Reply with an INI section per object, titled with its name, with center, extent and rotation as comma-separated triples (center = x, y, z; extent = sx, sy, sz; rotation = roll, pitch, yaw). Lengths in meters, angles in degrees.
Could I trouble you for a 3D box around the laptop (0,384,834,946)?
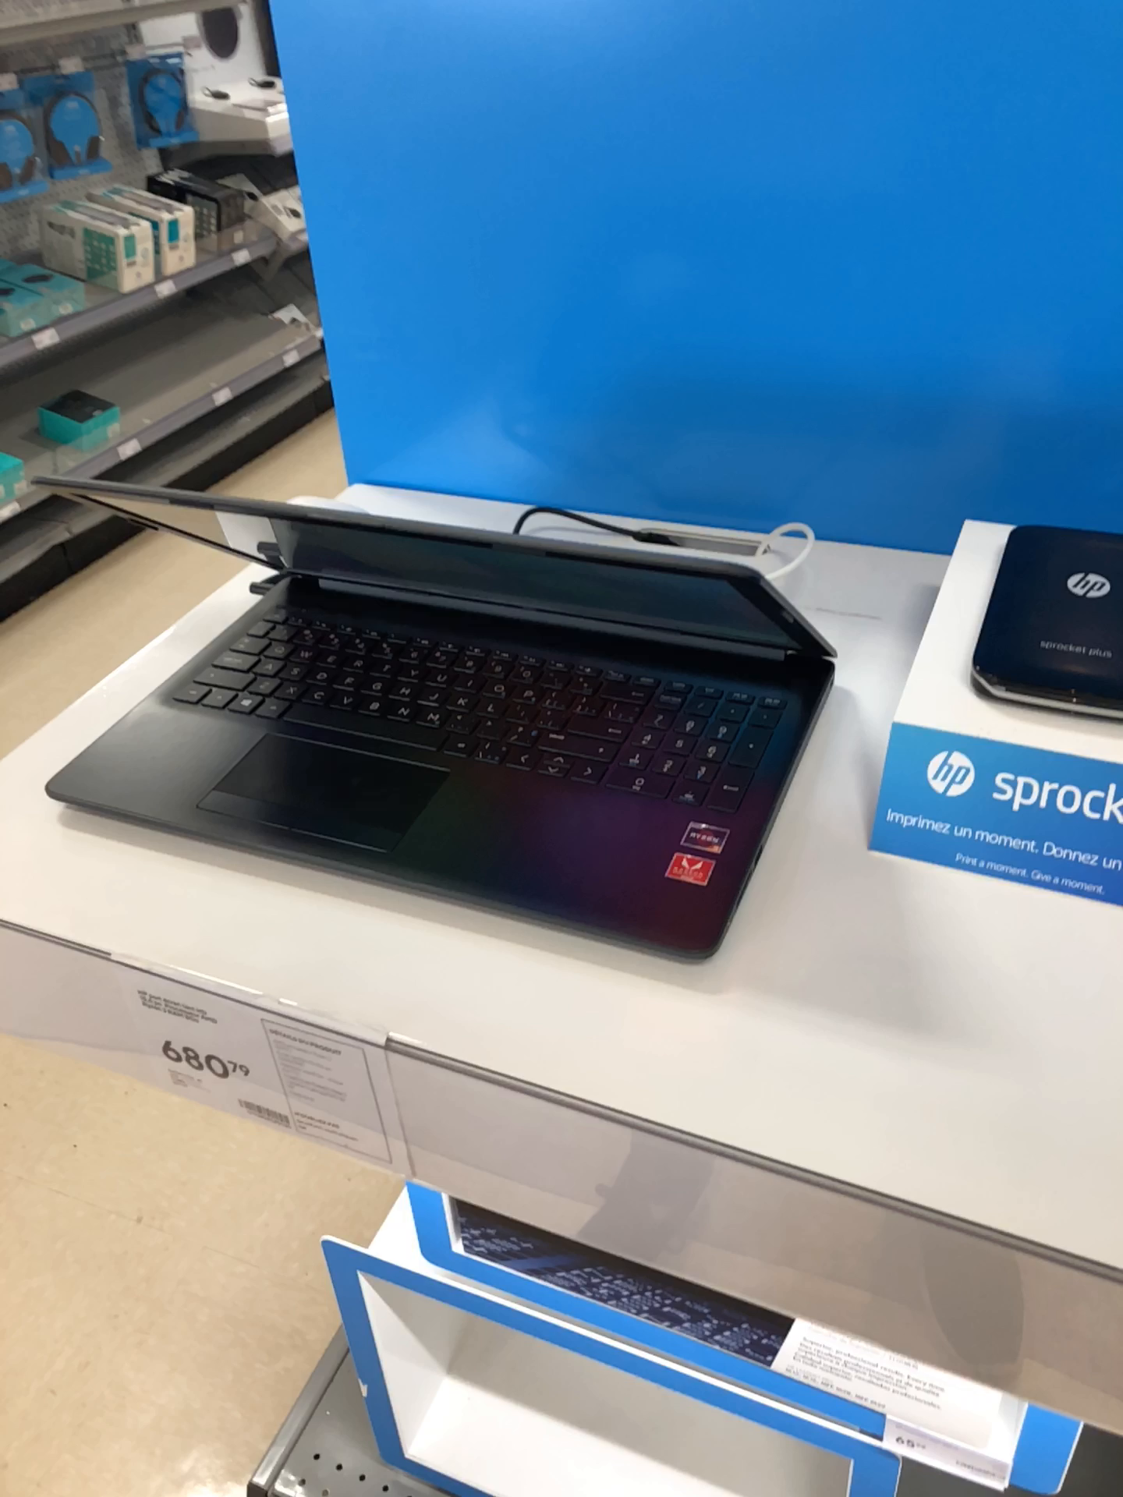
[laptop]
center = -0.066, -0.068, 0.633
extent = 0.355, 0.130, 0.243
rotation = 11, 37, 18
